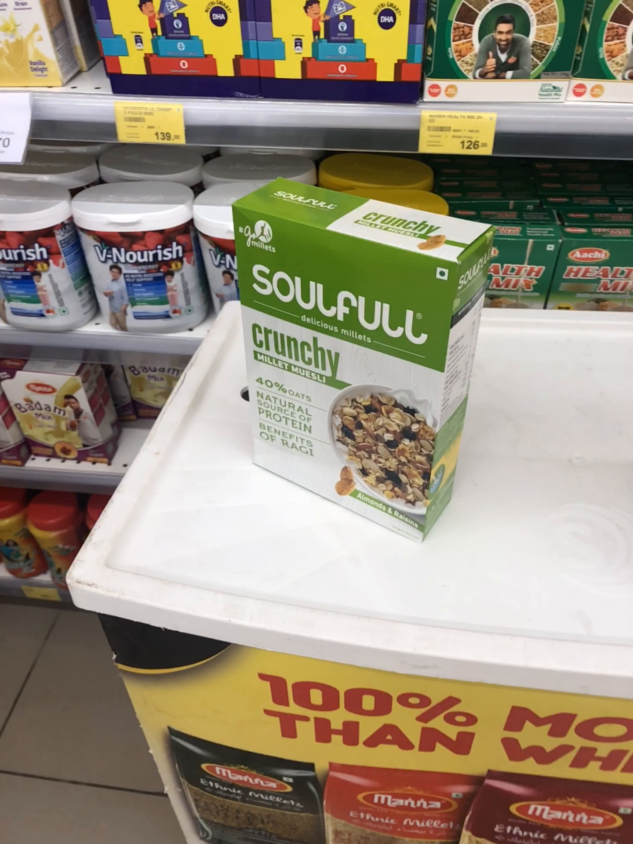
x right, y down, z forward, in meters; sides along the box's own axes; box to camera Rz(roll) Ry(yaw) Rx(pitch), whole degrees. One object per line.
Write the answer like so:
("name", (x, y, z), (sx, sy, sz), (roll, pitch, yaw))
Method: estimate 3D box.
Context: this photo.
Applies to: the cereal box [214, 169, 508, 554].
("cereal box", (0.031, -0.041, 0.534), (0.180, 0.249, 0.070), (23, 47, 28))
